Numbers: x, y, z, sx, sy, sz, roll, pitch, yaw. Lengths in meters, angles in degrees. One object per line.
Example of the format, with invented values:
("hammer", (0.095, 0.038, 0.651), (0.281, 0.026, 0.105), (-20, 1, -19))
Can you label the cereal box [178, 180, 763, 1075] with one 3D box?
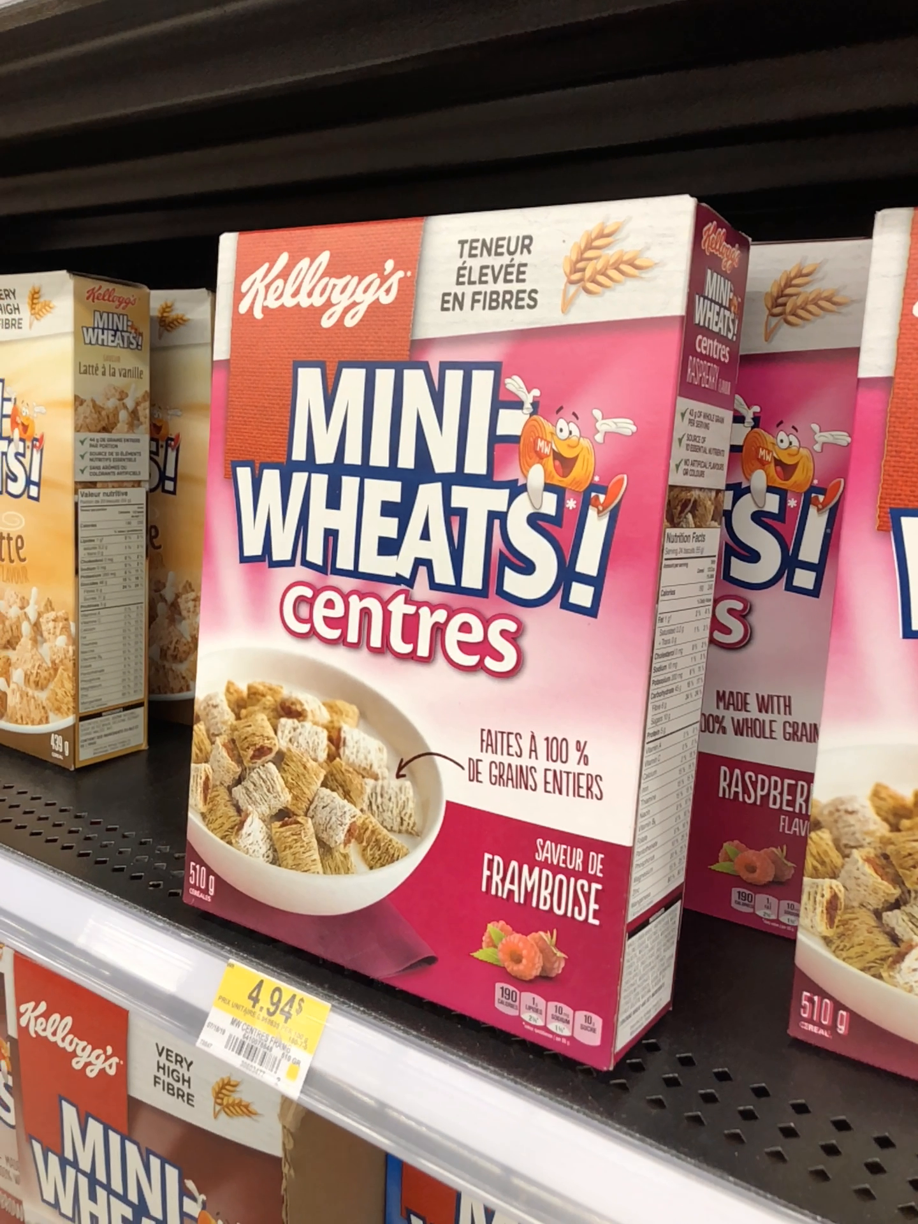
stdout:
("cereal box", (-0.006, -0.004, 0.370), (0.190, 0.259, 0.070), (8, 9, 32))
